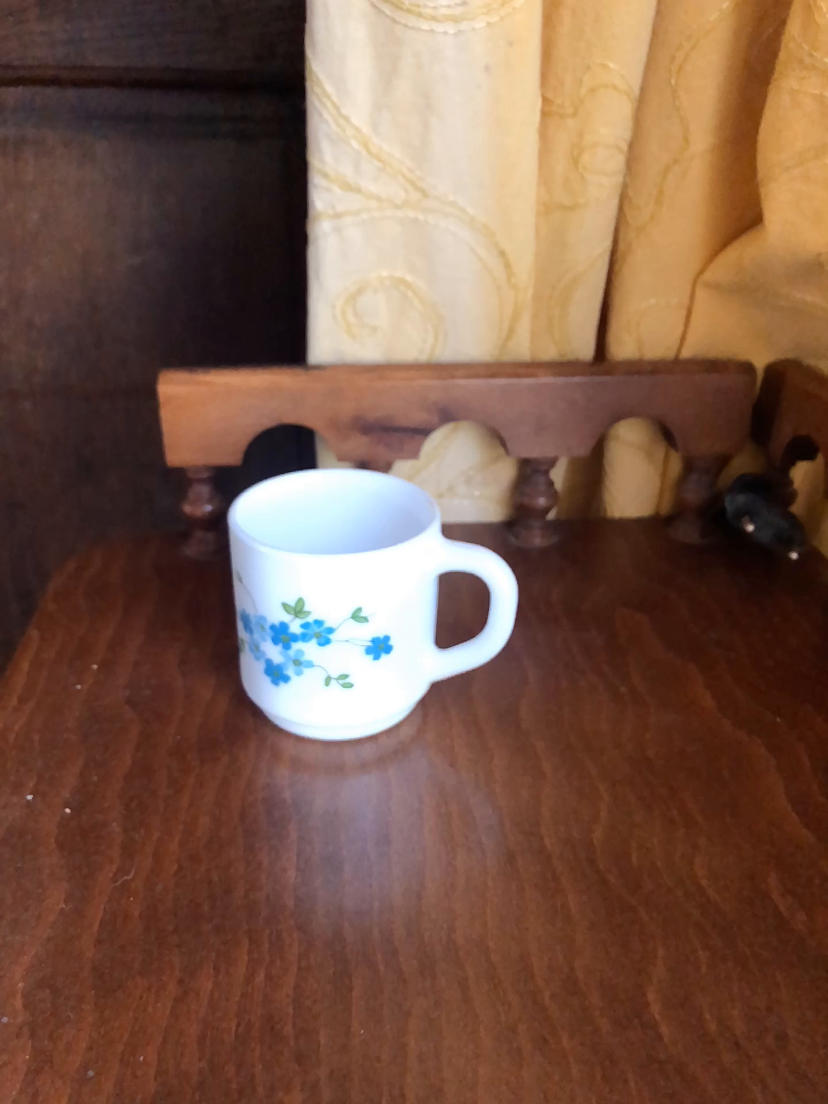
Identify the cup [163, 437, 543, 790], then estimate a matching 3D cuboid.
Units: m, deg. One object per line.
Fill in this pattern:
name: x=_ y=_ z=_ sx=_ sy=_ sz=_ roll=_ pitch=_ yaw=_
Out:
cup: x=-0.014 y=0.012 z=0.255 sx=0.080 sy=0.060 sz=0.060 roll=12 pitch=28 yaw=22
